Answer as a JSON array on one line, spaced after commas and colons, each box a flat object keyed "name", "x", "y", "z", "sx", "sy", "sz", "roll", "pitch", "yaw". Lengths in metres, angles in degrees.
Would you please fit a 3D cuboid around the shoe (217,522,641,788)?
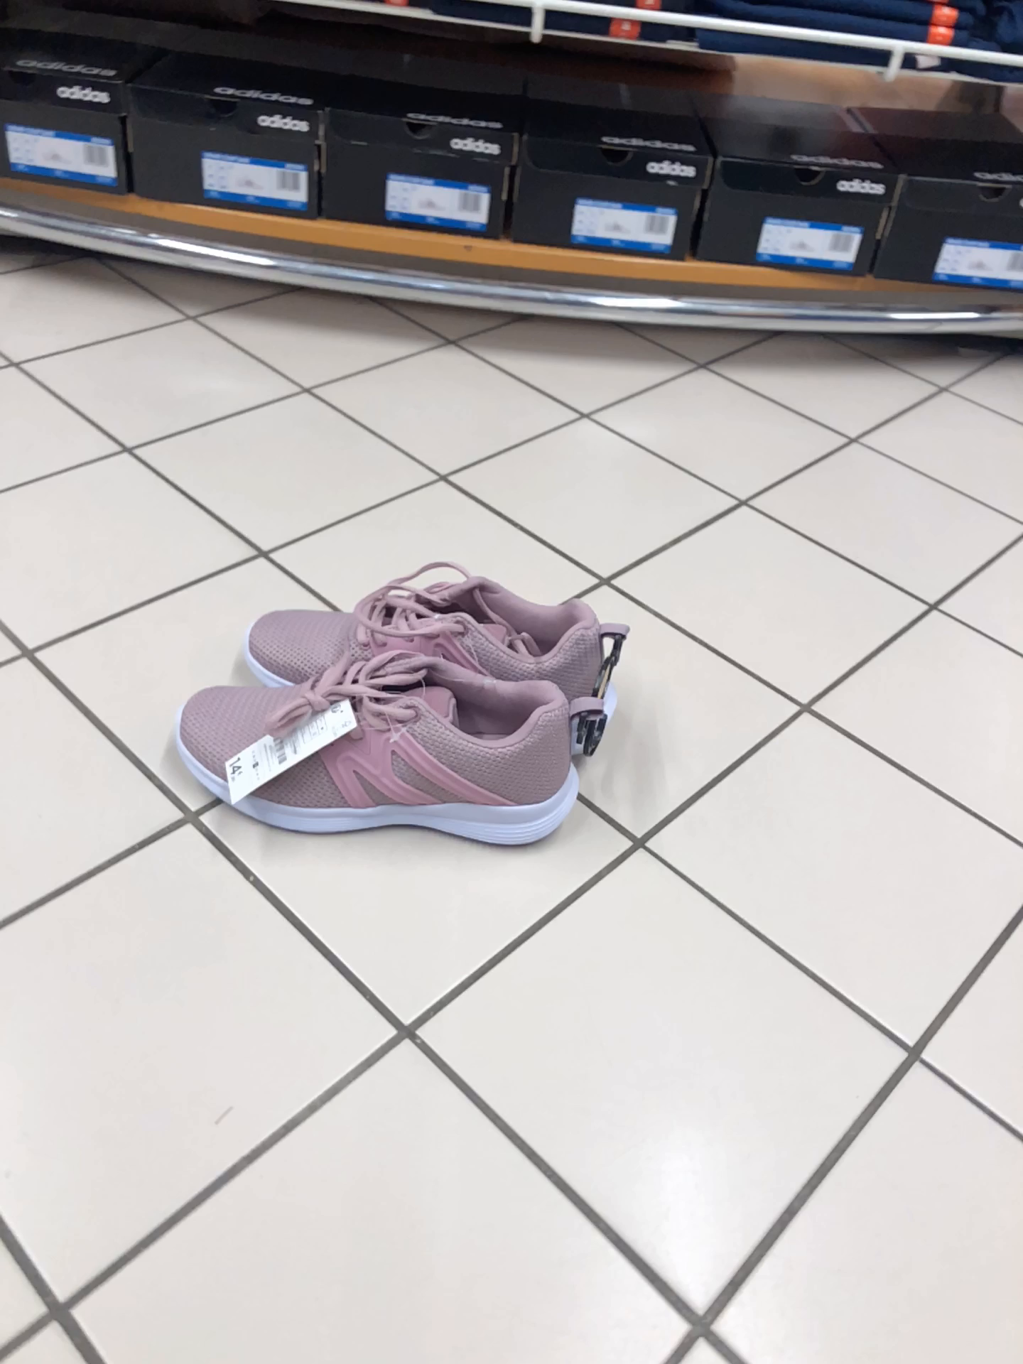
[{"name": "shoe", "x": -0.053, "y": -0.020, "z": 0.762, "sx": 0.260, "sy": 0.092, "sz": 0.101, "roll": 10, "pitch": 41, "yaw": 3}]

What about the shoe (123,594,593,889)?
[{"name": "shoe", "x": -0.089, "y": 0.036, "z": 0.701, "sx": 0.260, "sy": 0.099, "sz": 0.103, "roll": 9, "pitch": 41, "yaw": 1}]
